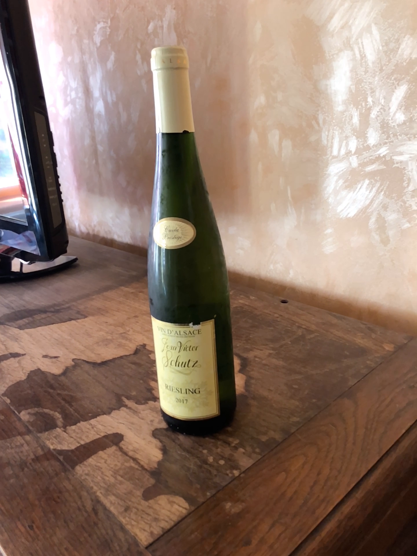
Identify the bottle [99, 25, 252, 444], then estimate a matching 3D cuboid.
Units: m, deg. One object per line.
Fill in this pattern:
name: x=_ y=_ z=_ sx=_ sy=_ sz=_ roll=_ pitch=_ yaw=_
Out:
bottle: x=-0.016 y=-0.025 z=0.388 sx=0.080 sy=0.319 sz=0.080 roll=-3 pitch=19 yaw=1
